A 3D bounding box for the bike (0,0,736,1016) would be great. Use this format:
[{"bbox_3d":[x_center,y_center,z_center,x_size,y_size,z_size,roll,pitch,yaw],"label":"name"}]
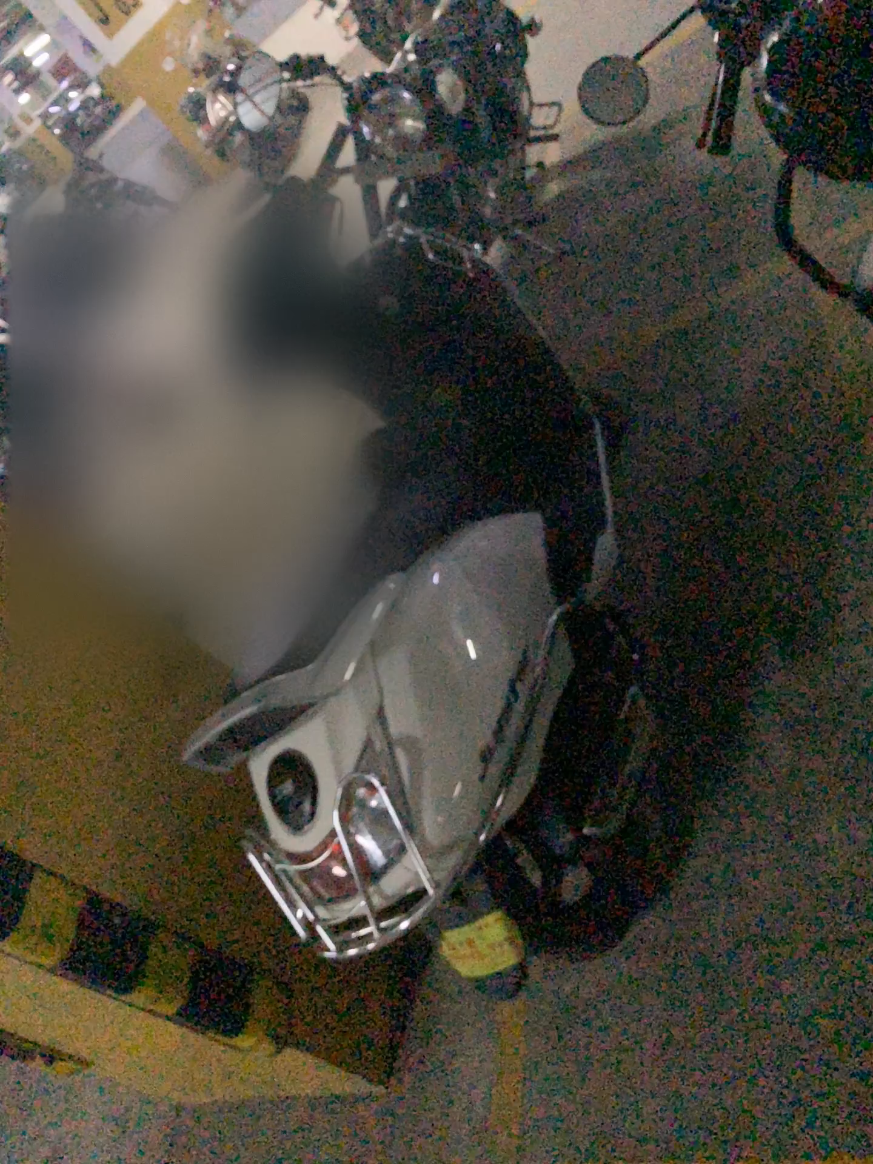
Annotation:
[{"bbox_3d":[-0.095,-0.169,1.823,0.649,1.157,1.535,-25,42,29],"label":"bike"}]
